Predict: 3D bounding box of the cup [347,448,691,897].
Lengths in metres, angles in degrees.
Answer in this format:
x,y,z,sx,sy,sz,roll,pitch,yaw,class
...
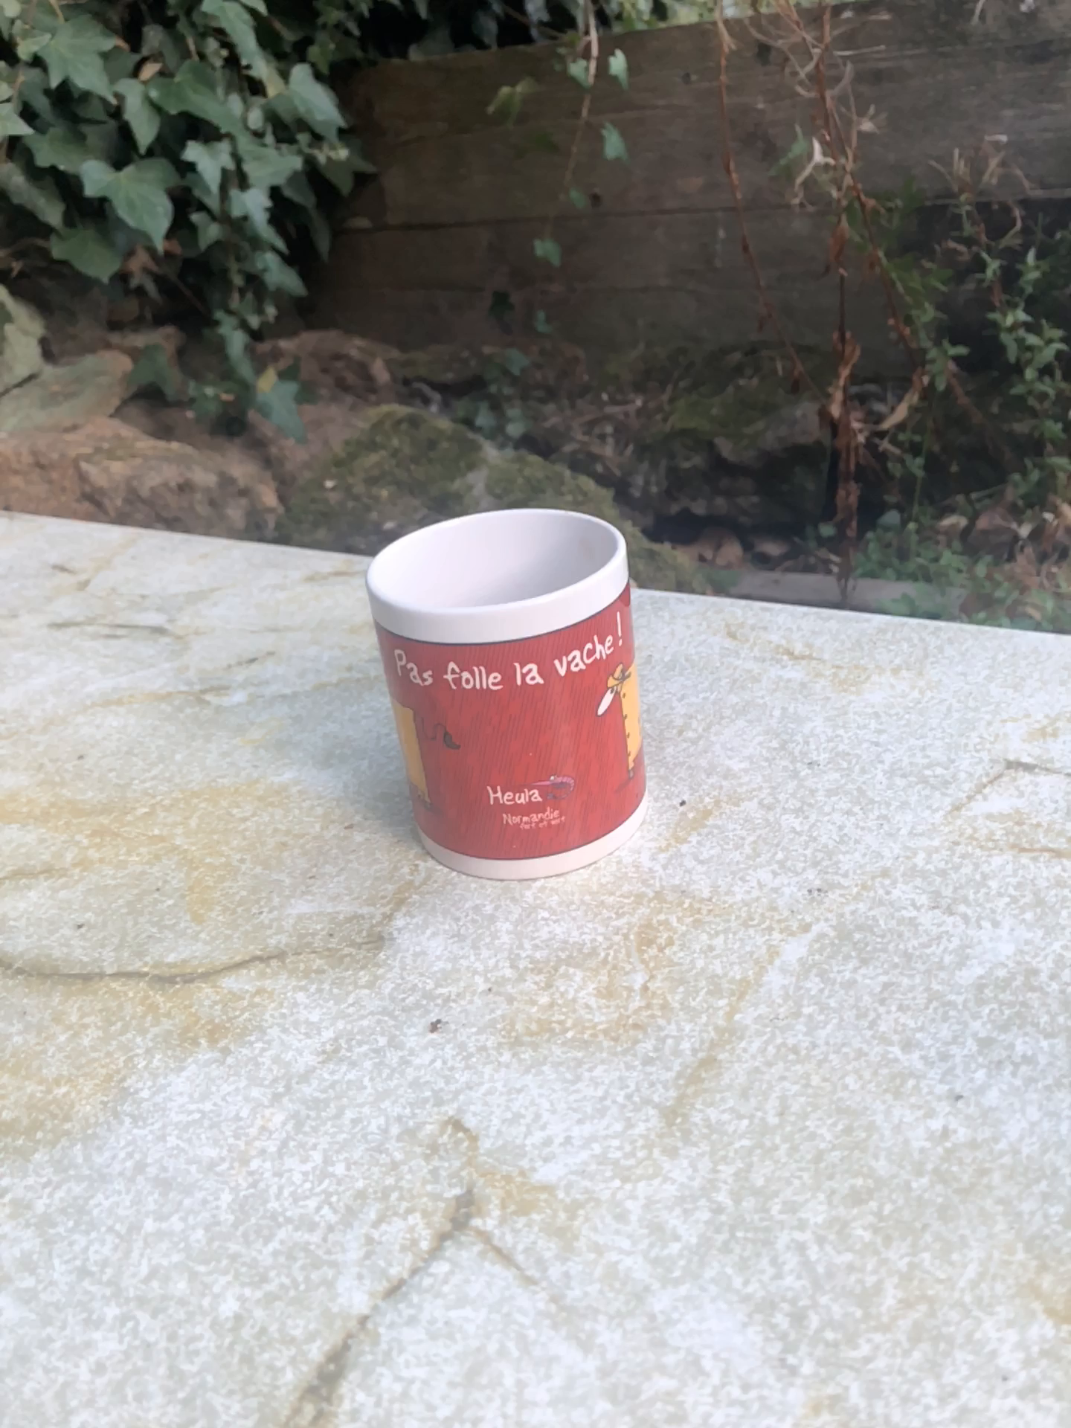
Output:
x,y,z,sx,sy,sz,roll,pitch,yaw,class
-0.006,-0.020,0.381,0.086,0.083,0.130,-7,30,-1,cup
